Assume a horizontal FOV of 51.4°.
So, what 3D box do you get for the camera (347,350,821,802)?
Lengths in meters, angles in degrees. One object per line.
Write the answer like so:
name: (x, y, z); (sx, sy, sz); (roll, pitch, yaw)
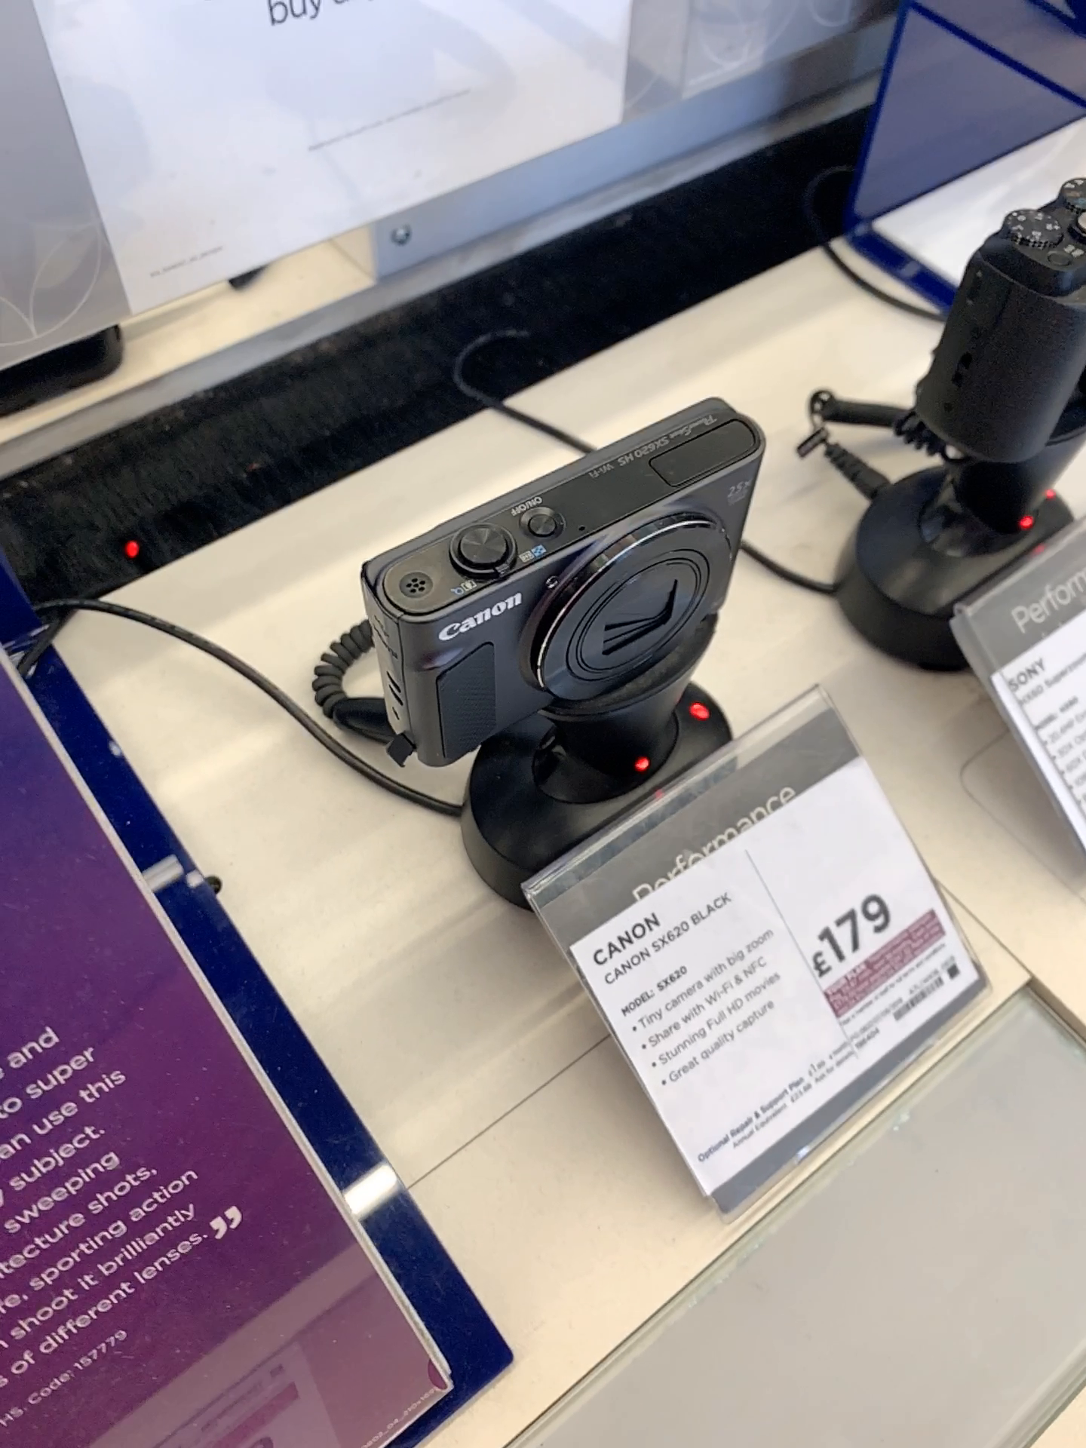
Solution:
camera: (0.009, -0.031, 0.240); (0.090, 0.060, 0.030); (-30, 62, -19)
